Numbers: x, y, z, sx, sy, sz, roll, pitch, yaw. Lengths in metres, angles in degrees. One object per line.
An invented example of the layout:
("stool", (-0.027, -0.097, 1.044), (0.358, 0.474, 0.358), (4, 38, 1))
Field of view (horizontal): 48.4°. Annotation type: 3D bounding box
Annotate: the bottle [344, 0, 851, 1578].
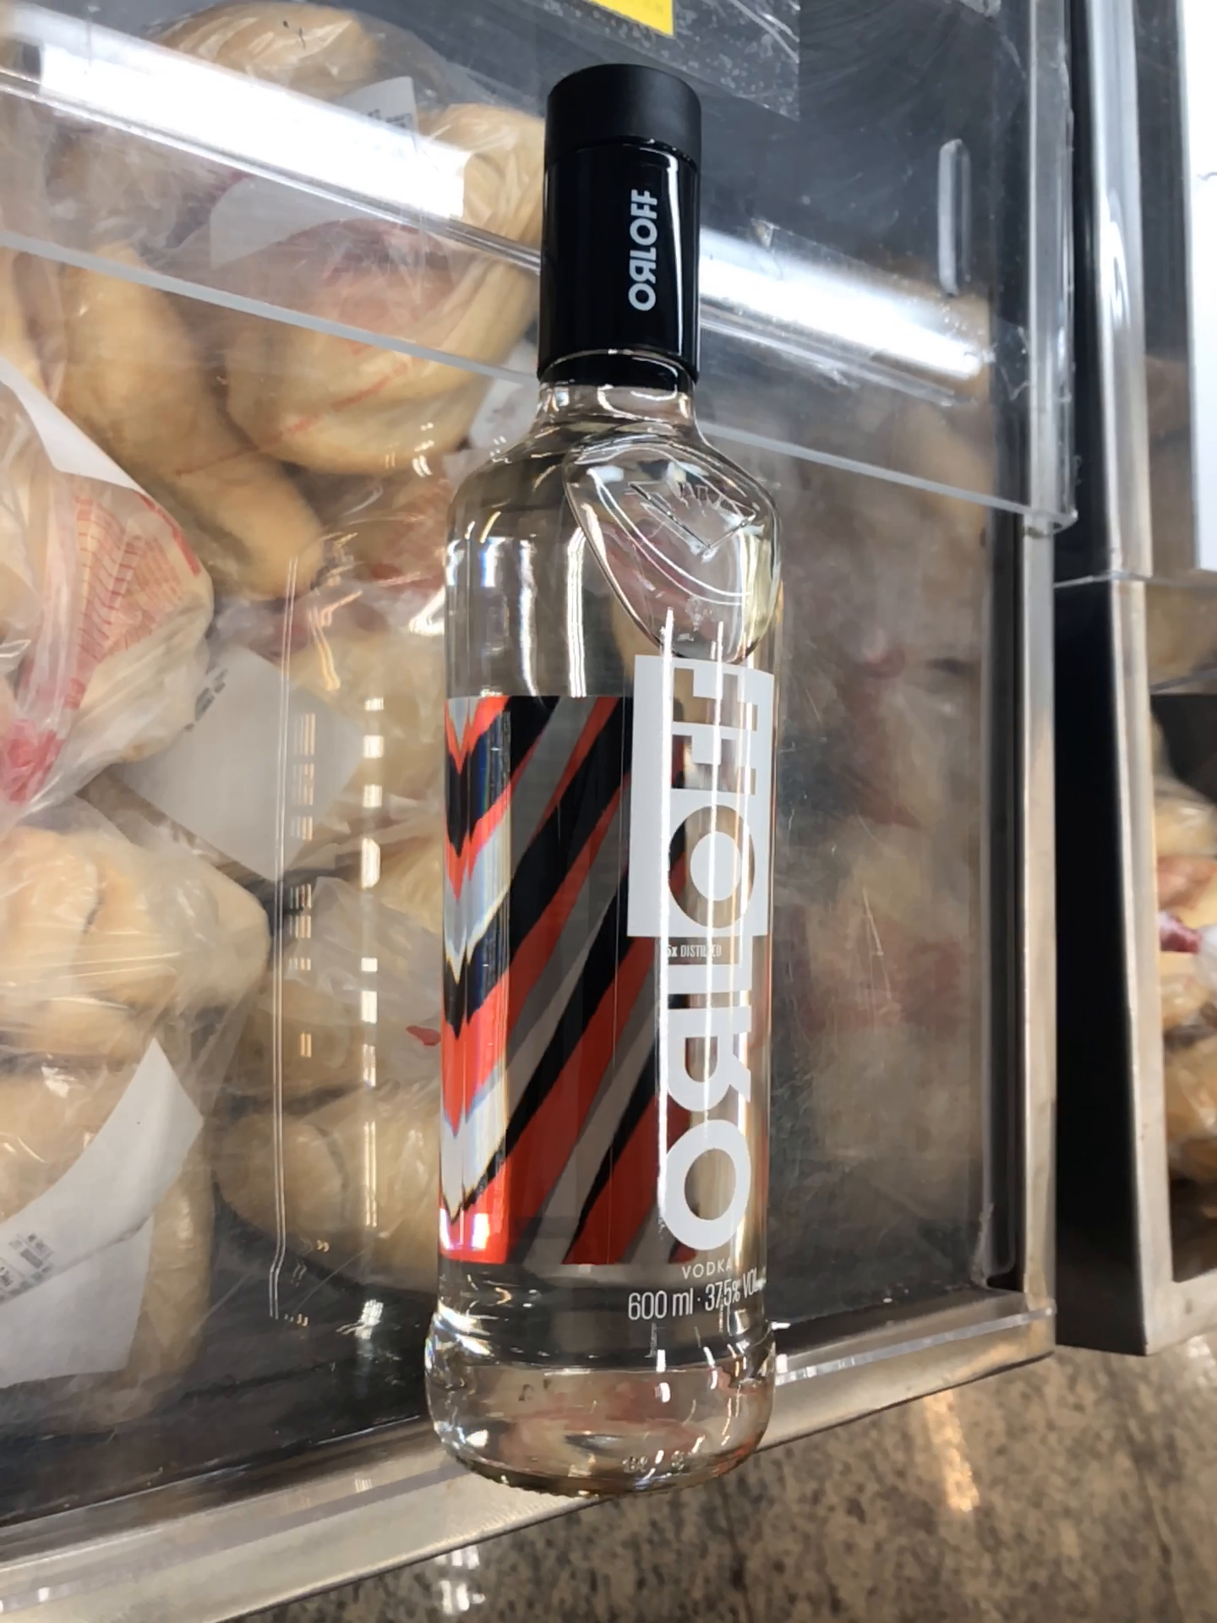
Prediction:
("bottle", (-0.002, -0.019, 0.284), (0.070, 0.070, 0.300), (3, 87, -36))
